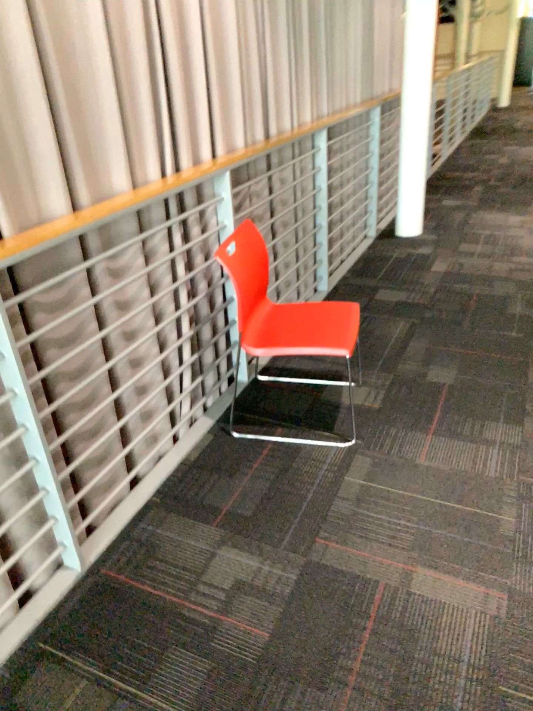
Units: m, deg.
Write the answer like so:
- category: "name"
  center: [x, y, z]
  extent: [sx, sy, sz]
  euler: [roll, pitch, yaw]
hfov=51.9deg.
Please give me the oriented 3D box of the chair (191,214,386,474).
- category: "chair"
  center: [0.129, -0.078, 2.331]
  extent: [0.661, 0.855, 0.633]
  euler: [5, 30, 11]
